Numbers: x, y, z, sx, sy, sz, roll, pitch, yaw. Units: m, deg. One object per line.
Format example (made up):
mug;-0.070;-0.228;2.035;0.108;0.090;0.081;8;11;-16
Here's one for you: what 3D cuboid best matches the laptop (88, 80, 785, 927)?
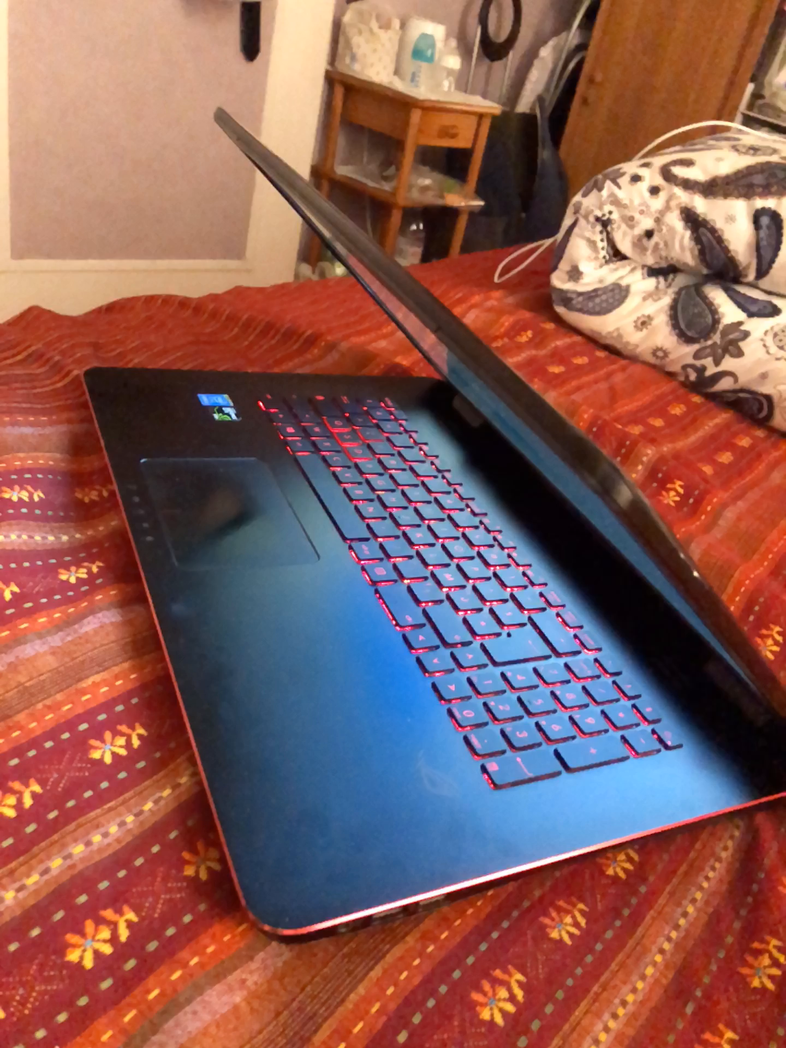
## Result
laptop;0.017;-0.065;0.434;0.268;0.168;0.400;-3;36;-27
